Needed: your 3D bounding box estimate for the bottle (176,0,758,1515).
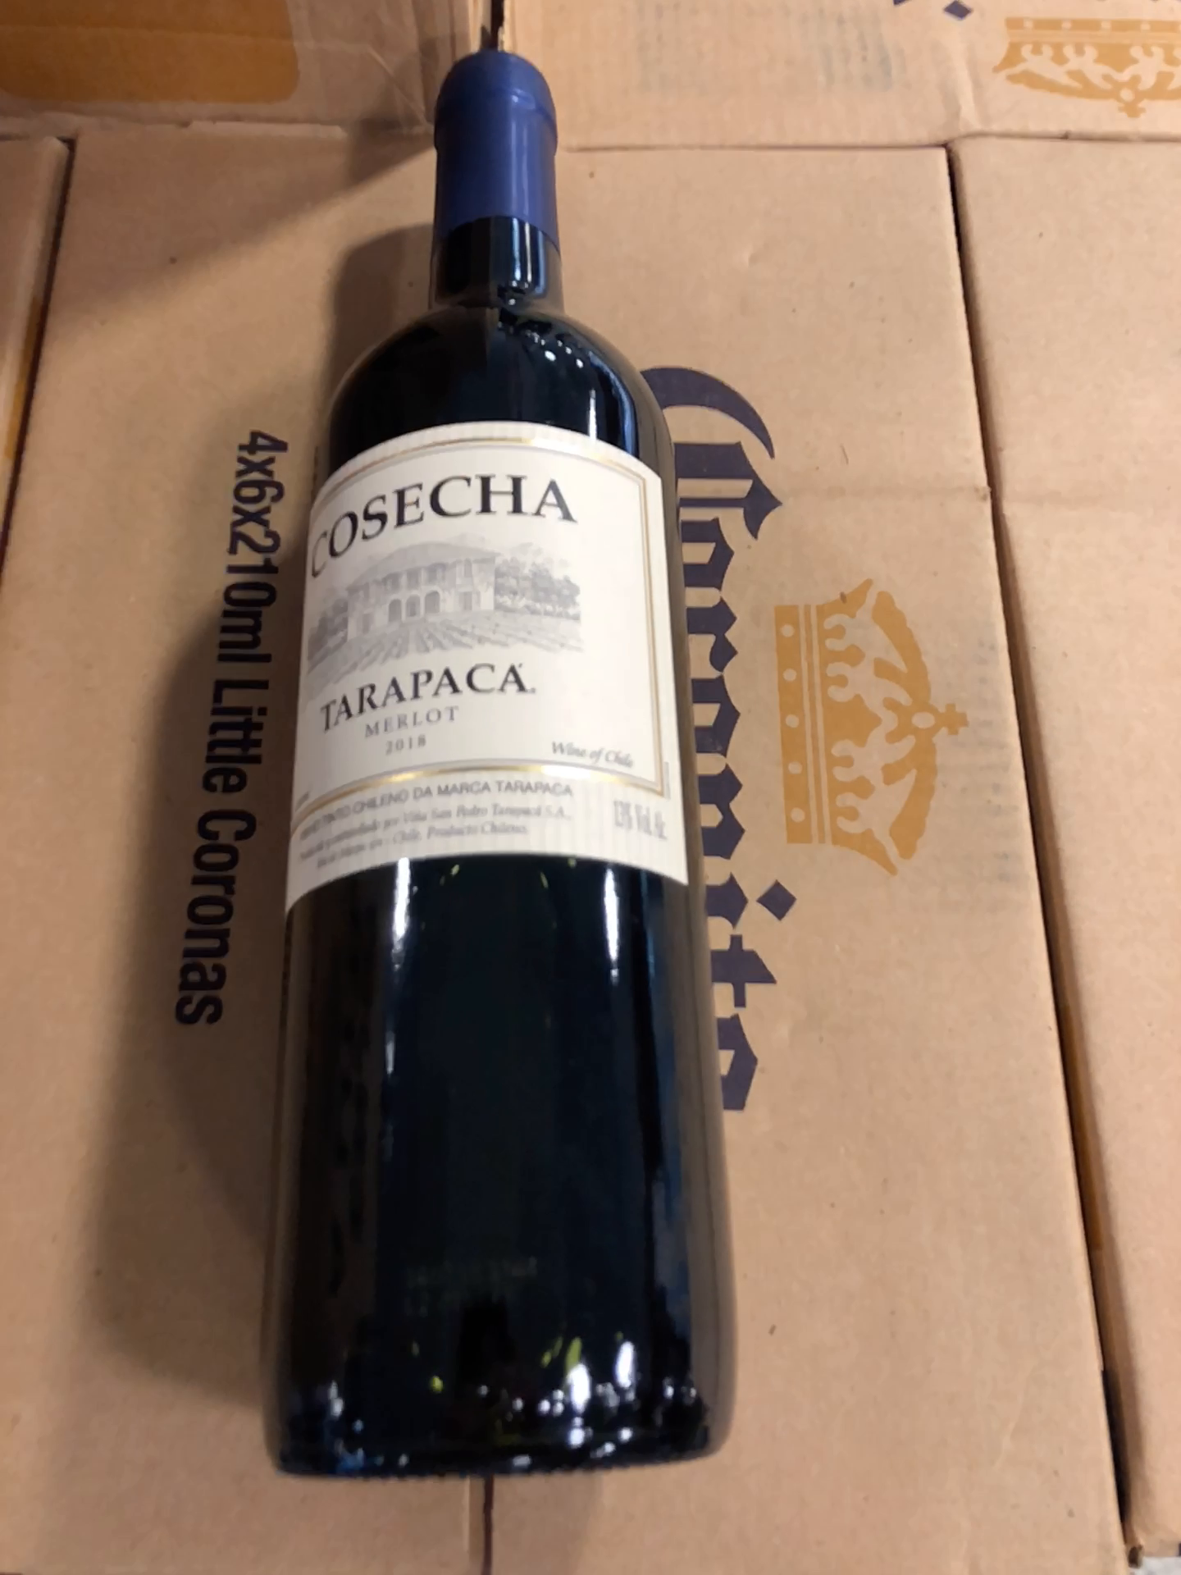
[{"bbox_3d":[-0.036,-0.051,0.257,0.070,0.060,0.331,0,62,-13],"label":"bottle"}]
